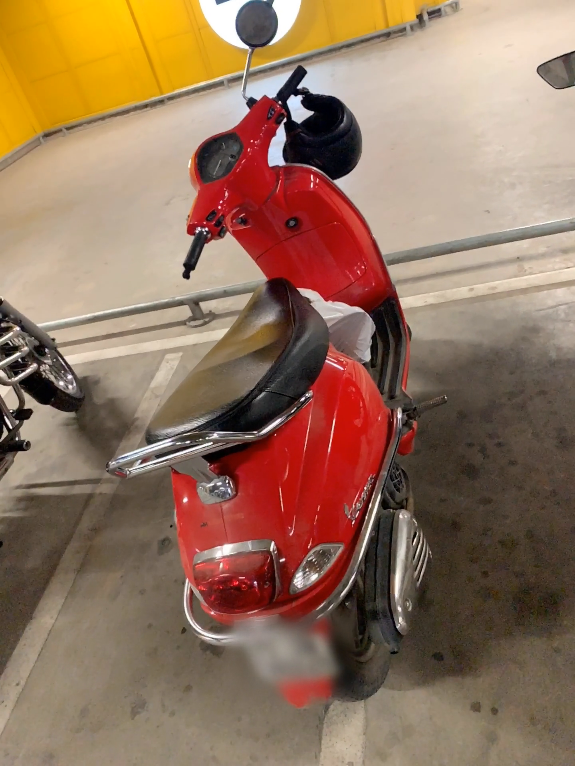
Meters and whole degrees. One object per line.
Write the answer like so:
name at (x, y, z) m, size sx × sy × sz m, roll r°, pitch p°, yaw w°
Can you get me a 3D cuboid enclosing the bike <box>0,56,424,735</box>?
bike at (-0.119, -0.116, 1.761) m, size 0.632 × 1.201 × 1.687 m, roll -11°, pitch 35°, yaw 12°
